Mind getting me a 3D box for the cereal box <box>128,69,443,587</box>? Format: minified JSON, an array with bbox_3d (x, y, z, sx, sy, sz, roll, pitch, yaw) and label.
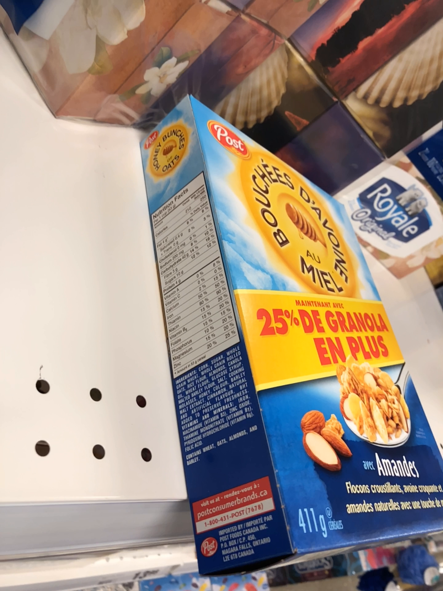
[{"bbox_3d":[0.051,0.016,0.322,0.211,0.050,0.270,21,47,-44],"label":"cereal box"}]
